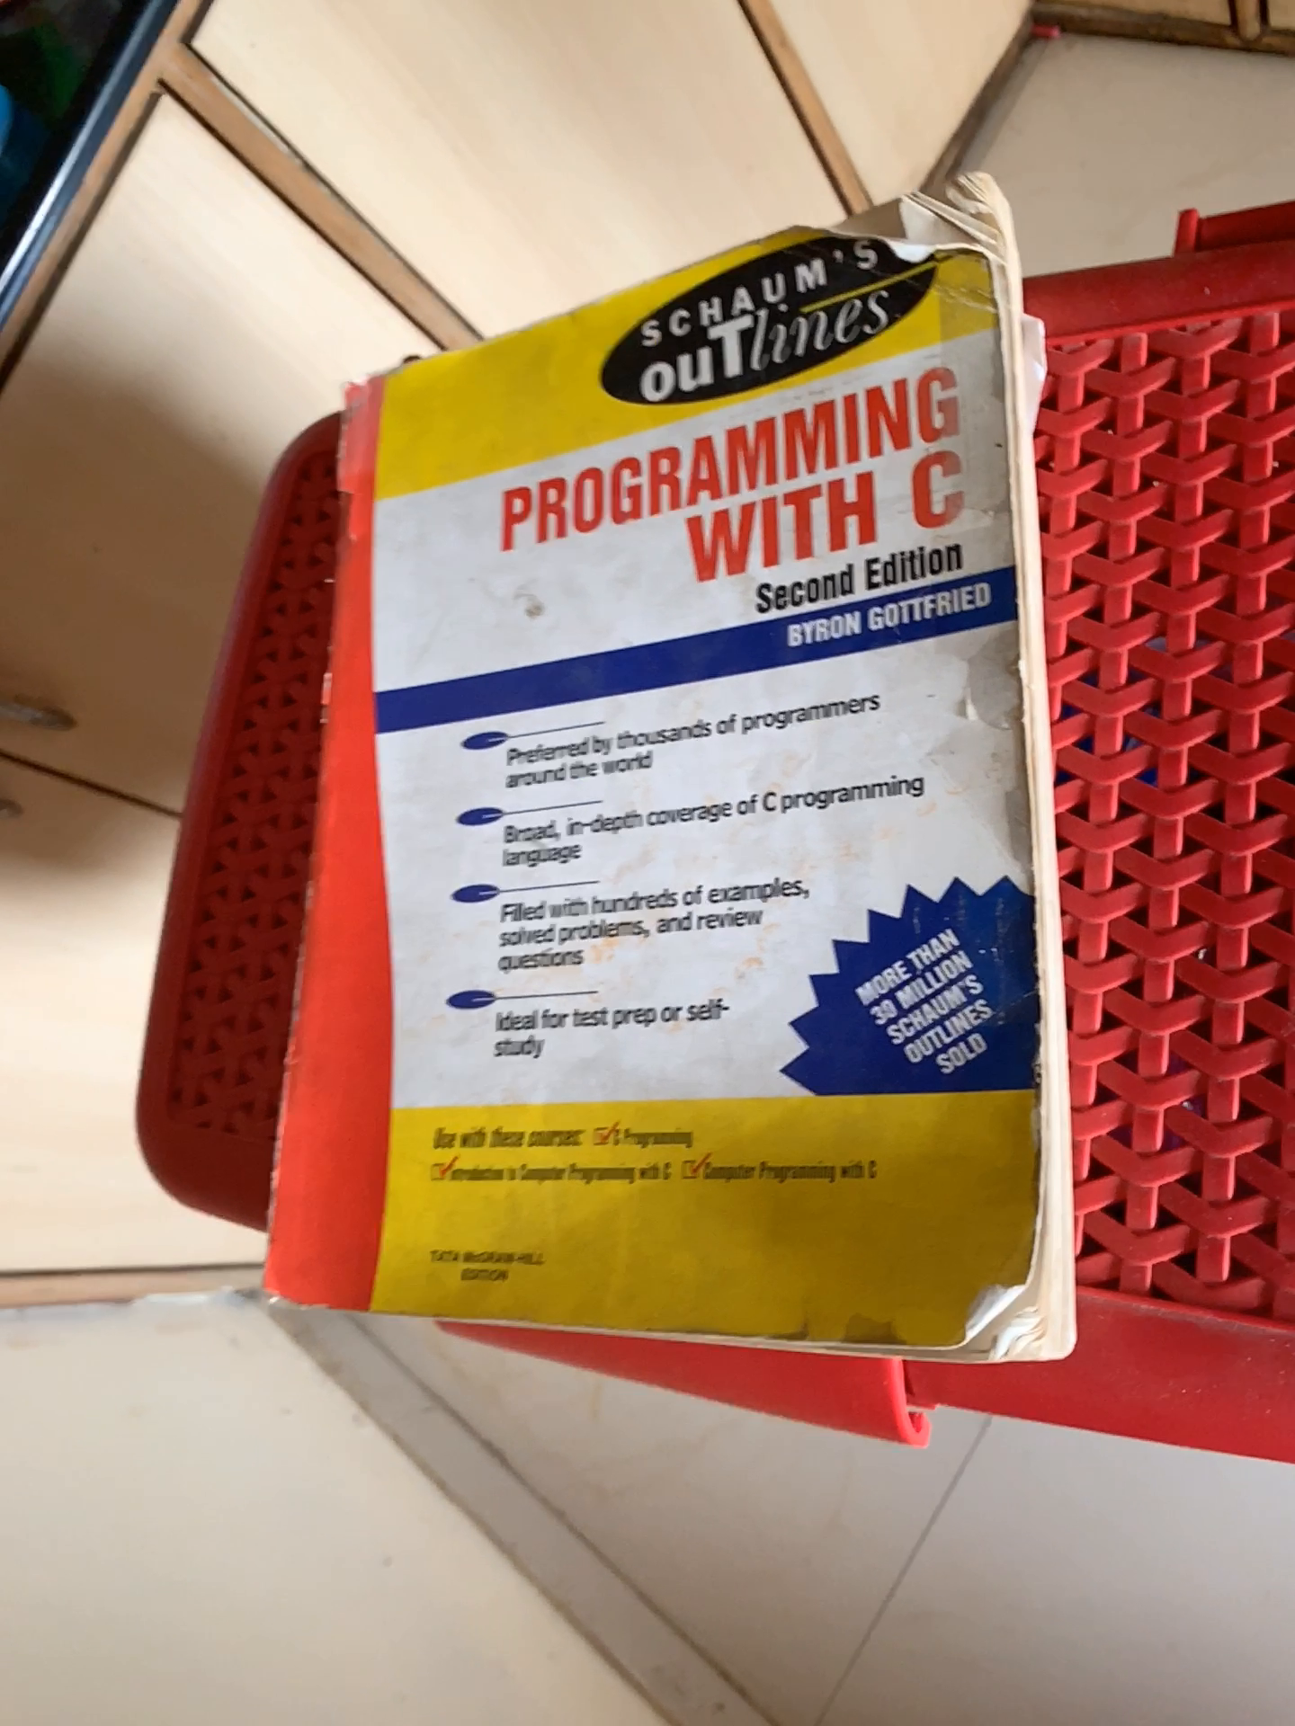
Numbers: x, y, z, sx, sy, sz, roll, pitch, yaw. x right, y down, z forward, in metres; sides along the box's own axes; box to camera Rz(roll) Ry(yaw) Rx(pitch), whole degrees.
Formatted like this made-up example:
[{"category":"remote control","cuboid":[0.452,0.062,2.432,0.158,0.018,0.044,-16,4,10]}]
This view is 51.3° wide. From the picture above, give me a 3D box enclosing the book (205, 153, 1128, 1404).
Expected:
[{"category":"book","cuboid":[0.000,-0.017,0.325,0.201,0.050,0.250,-6,73,28]}]
